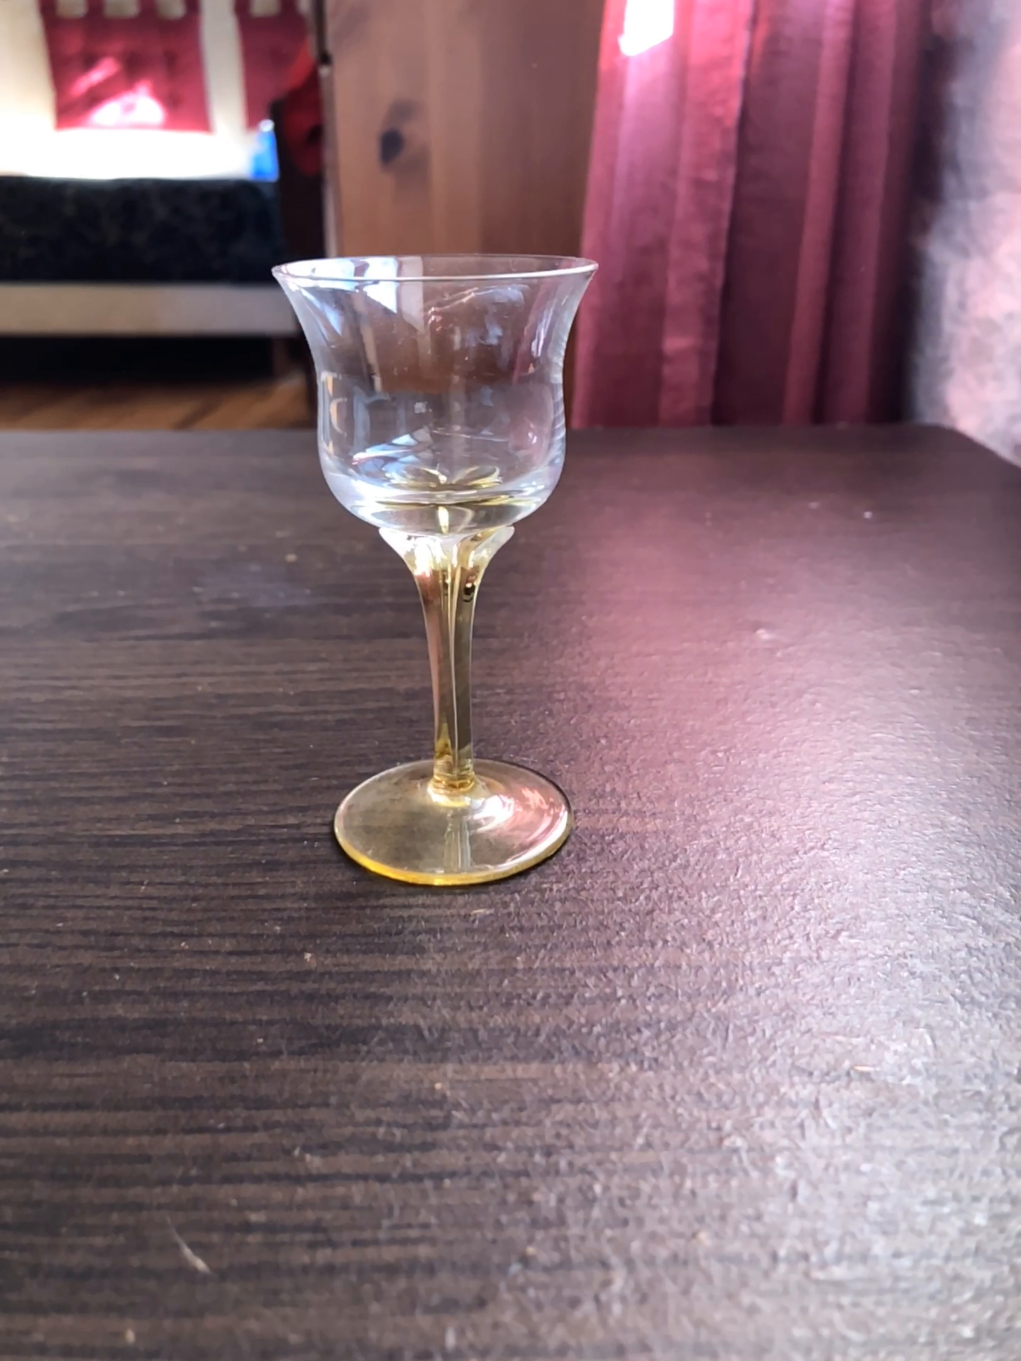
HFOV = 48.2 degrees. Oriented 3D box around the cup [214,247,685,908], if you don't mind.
[{"bbox_3d":[-0.008,-0.018,0.183,0.058,0.093,0.051,1,22,-1],"label":"cup"}]
